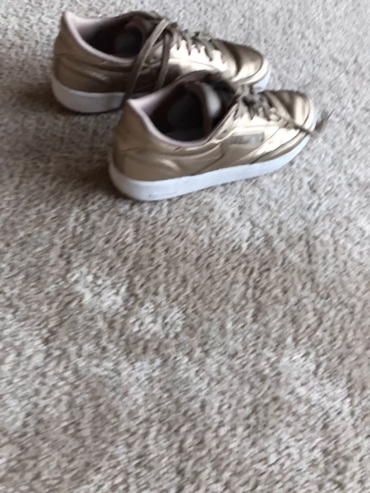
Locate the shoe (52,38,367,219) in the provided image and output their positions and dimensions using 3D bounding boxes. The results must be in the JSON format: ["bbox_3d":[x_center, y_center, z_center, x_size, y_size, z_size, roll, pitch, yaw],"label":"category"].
[{"bbox_3d":[0.027,-0.127,0.412,0.280,0.070,0.110,-17,66,-20],"label":"shoe"}]

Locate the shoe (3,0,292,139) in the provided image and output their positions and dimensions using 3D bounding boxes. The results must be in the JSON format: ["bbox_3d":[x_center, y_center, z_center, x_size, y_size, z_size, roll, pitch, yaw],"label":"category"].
[{"bbox_3d":[-0.038,-0.203,0.458,0.280,0.070,0.110,-12,65,-18],"label":"shoe"}]
